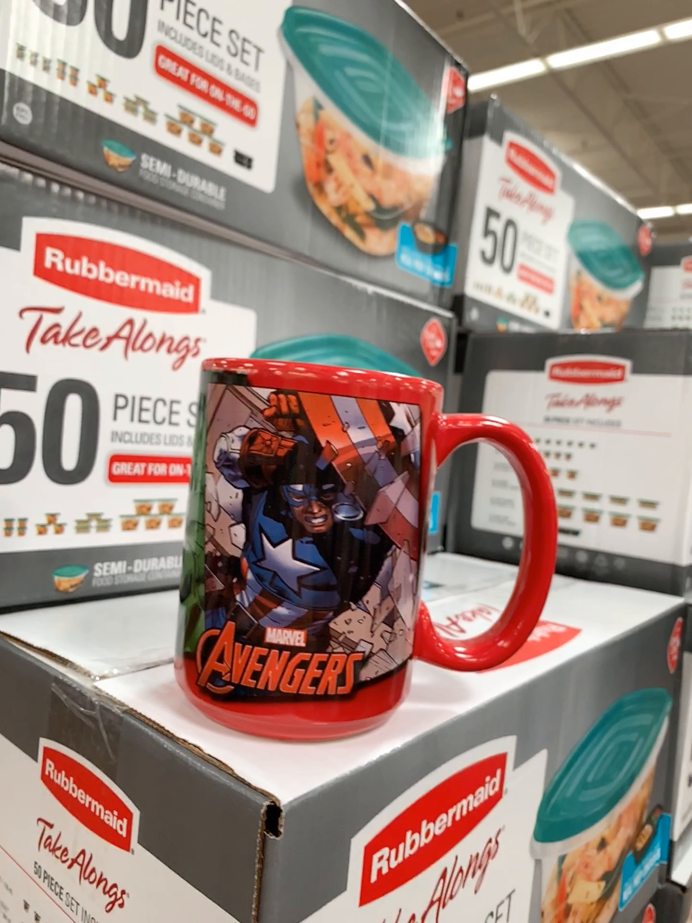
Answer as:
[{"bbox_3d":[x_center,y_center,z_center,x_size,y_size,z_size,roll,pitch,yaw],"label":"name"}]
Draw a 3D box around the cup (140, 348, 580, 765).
[{"bbox_3d":[0.003,0.024,0.264,0.119,0.114,0.100,6,6,-1],"label":"cup"}]
